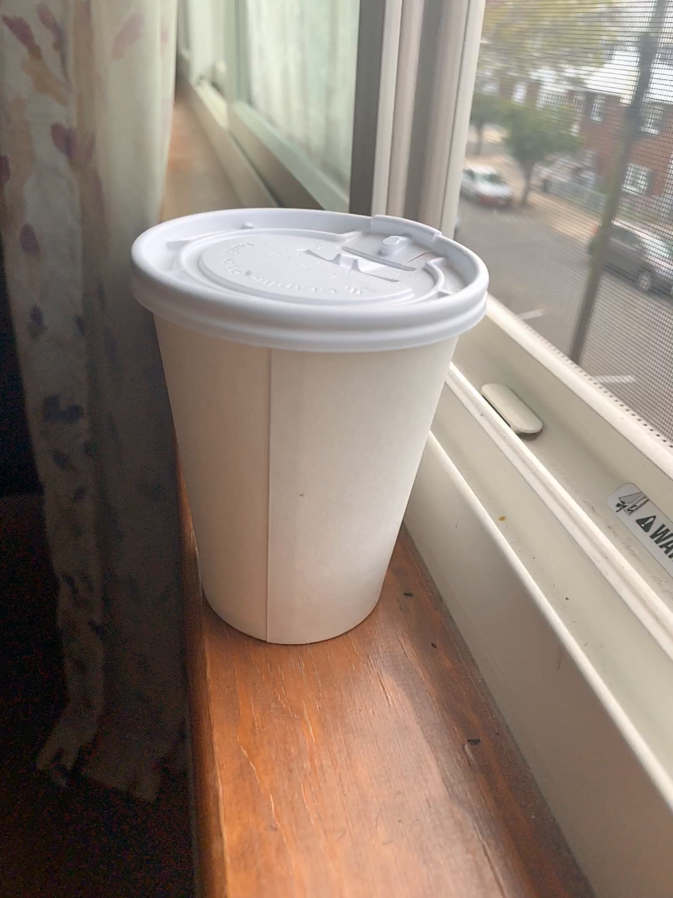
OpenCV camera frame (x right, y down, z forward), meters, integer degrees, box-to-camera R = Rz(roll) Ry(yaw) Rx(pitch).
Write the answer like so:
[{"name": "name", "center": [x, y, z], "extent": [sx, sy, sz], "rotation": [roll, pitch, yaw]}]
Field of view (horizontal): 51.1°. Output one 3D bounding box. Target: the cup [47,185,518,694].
[{"name": "cup", "center": [-0.008, -0.009, 0.196], "extent": [0.090, 0.099, 0.091], "rotation": [3, 30, -2]}]
